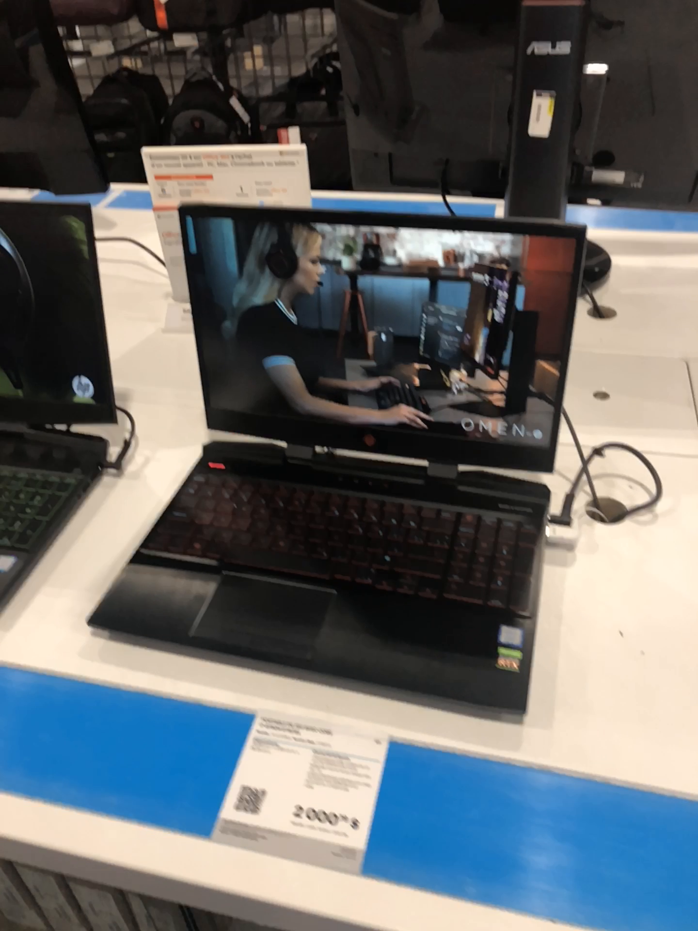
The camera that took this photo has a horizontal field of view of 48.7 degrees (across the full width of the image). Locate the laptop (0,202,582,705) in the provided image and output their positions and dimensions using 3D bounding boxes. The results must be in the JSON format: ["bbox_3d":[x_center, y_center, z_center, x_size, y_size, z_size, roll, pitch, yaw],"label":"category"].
[{"bbox_3d":[-0.013,-0.034,0.638,0.355,0.239,0.294,7,41,14],"label":"laptop"}]
